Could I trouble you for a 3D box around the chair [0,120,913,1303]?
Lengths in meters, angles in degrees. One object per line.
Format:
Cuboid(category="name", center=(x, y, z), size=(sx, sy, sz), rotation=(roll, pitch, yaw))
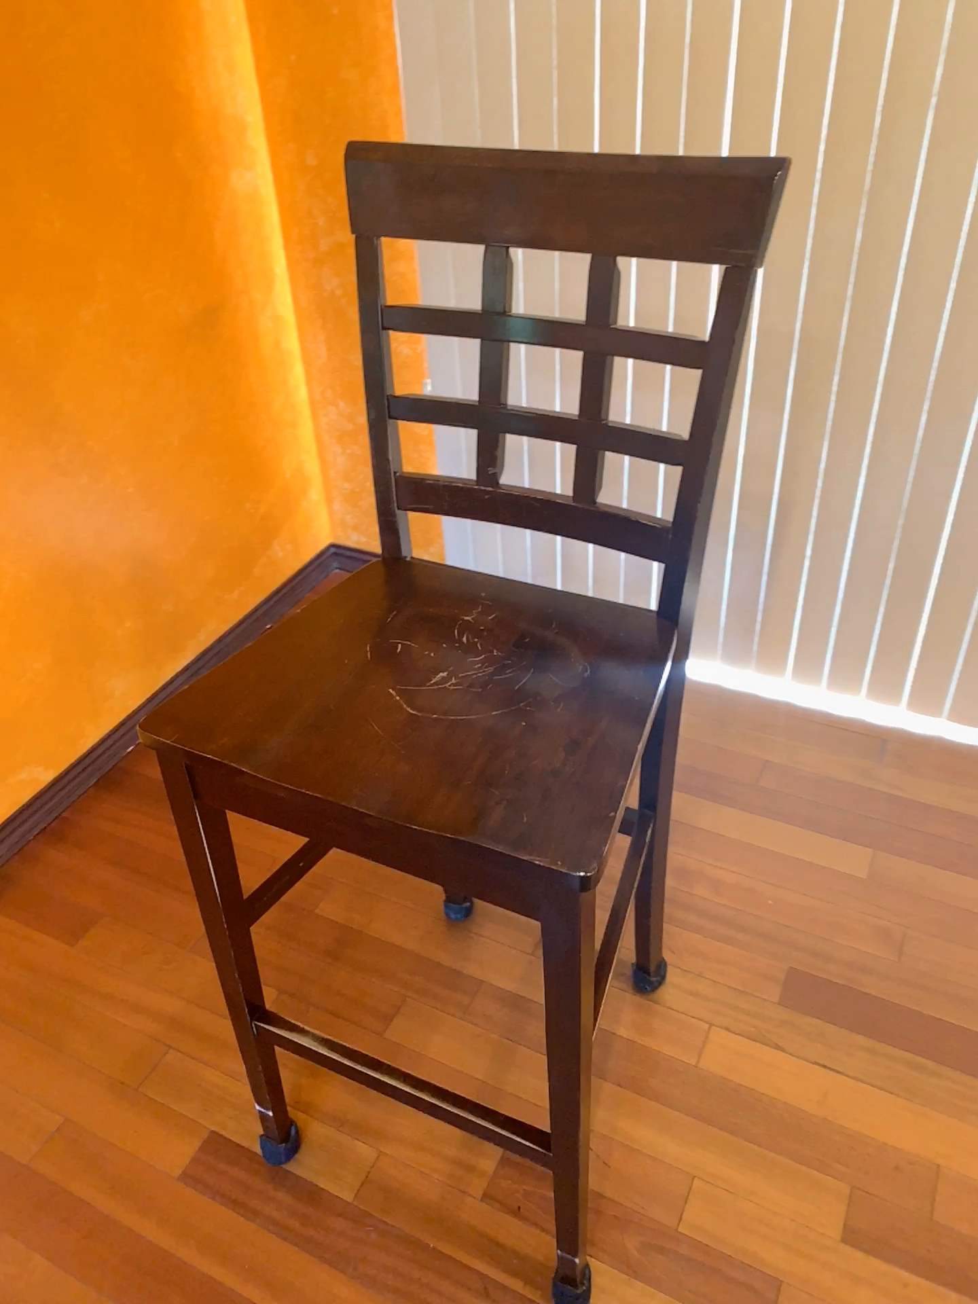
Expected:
Cuboid(category="chair", center=(-0.007, 0.077, 0.997), size=(0.542, 0.986, 0.584), rotation=(14, 39, 22))
